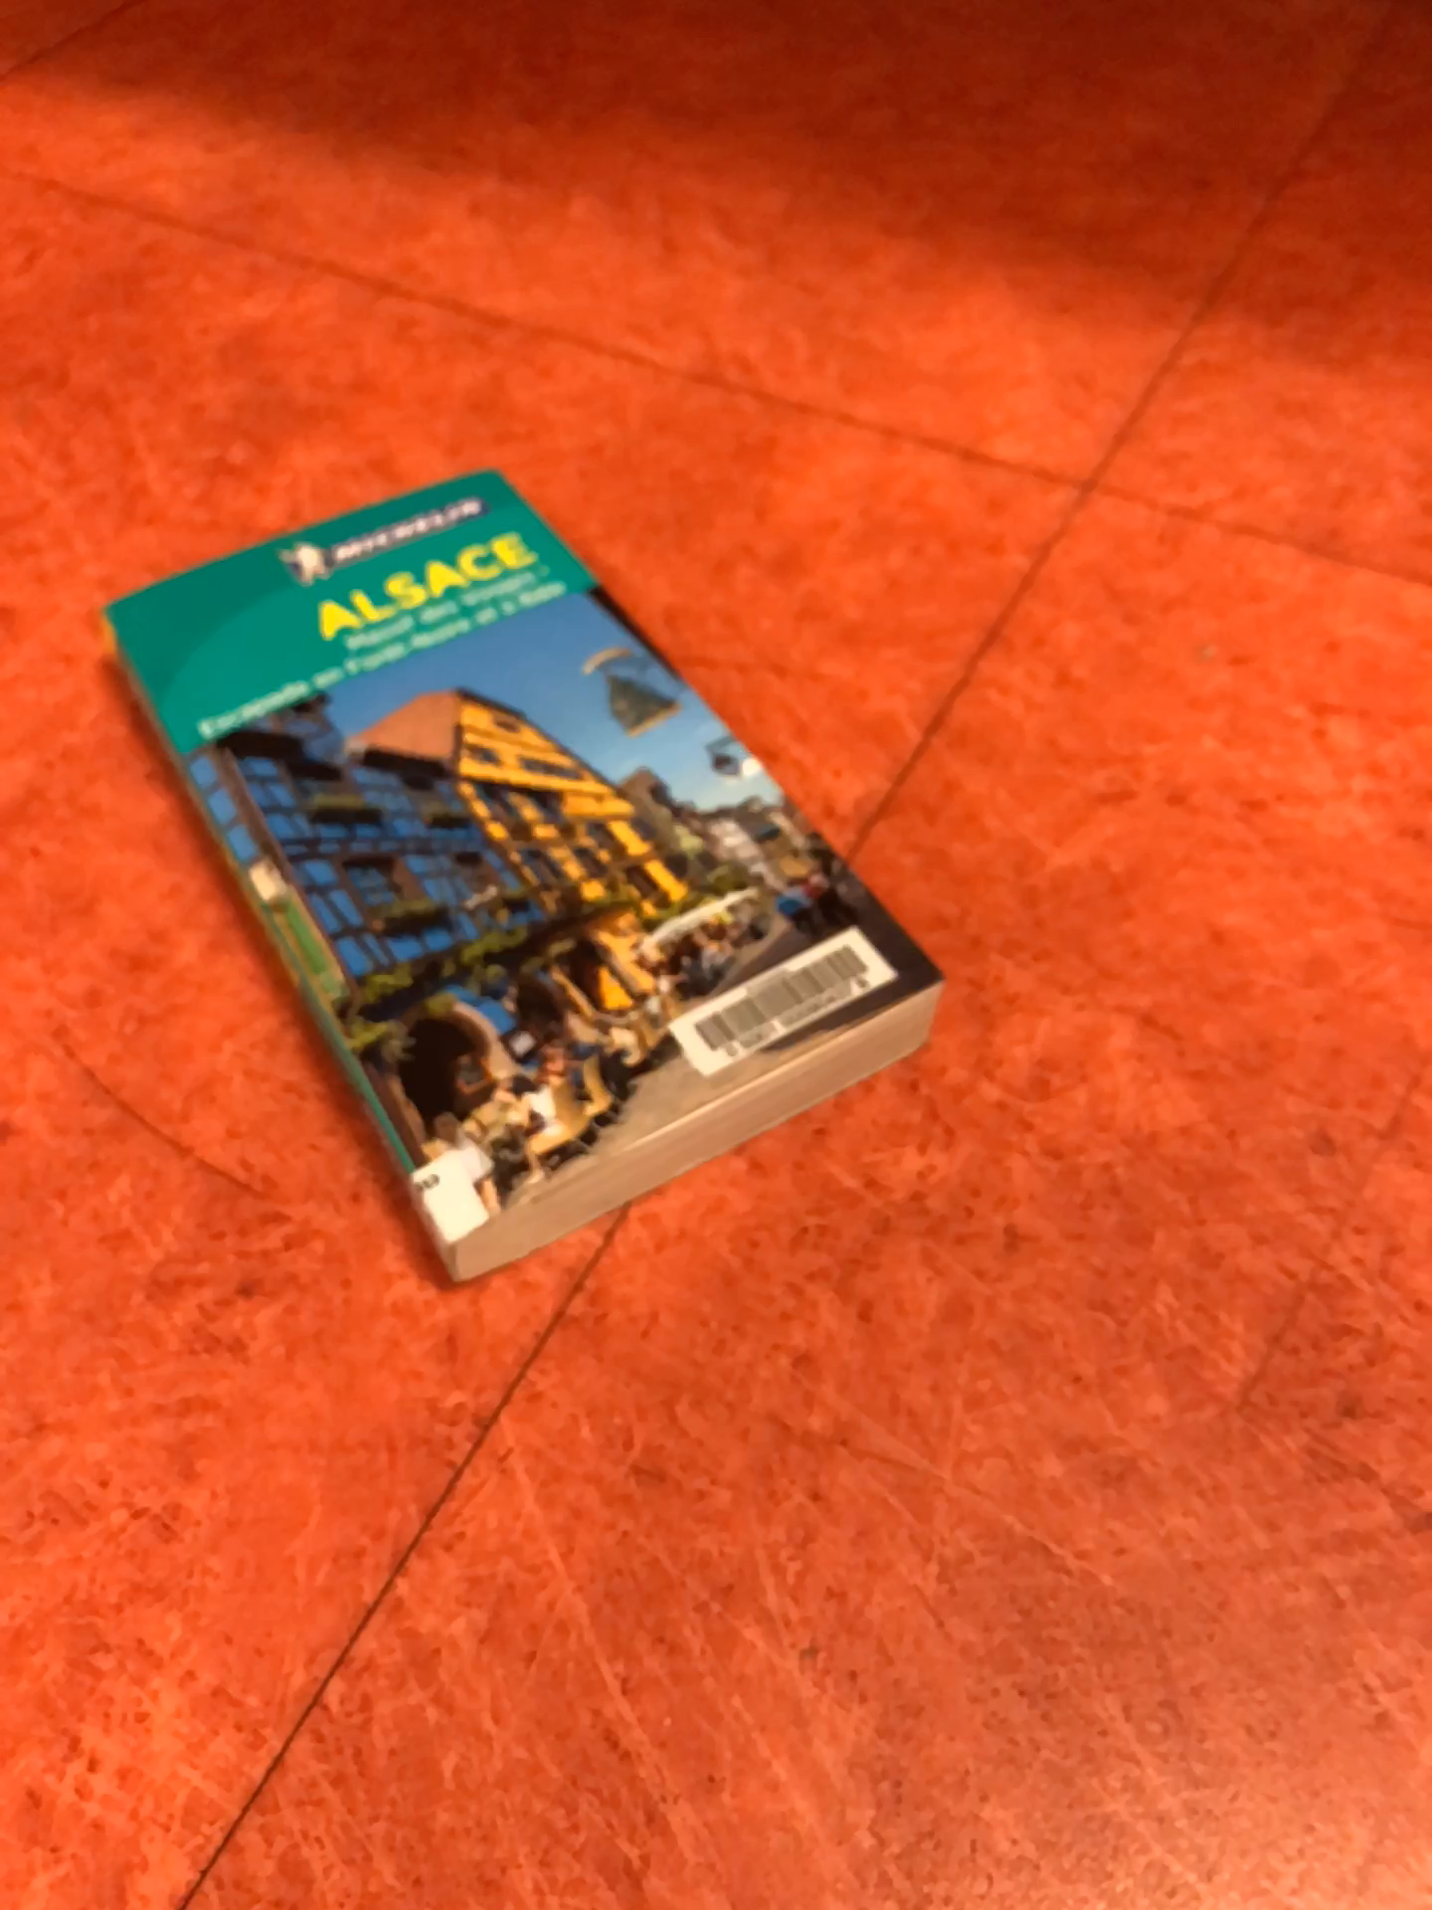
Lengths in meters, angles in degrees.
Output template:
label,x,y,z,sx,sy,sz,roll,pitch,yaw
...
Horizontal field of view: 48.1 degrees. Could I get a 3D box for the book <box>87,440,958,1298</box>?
label,x,y,z,sx,sy,sz,roll,pitch,yaw
book,-0.055,-0.037,0.376,0.116,0.030,0.213,-25,55,-18
